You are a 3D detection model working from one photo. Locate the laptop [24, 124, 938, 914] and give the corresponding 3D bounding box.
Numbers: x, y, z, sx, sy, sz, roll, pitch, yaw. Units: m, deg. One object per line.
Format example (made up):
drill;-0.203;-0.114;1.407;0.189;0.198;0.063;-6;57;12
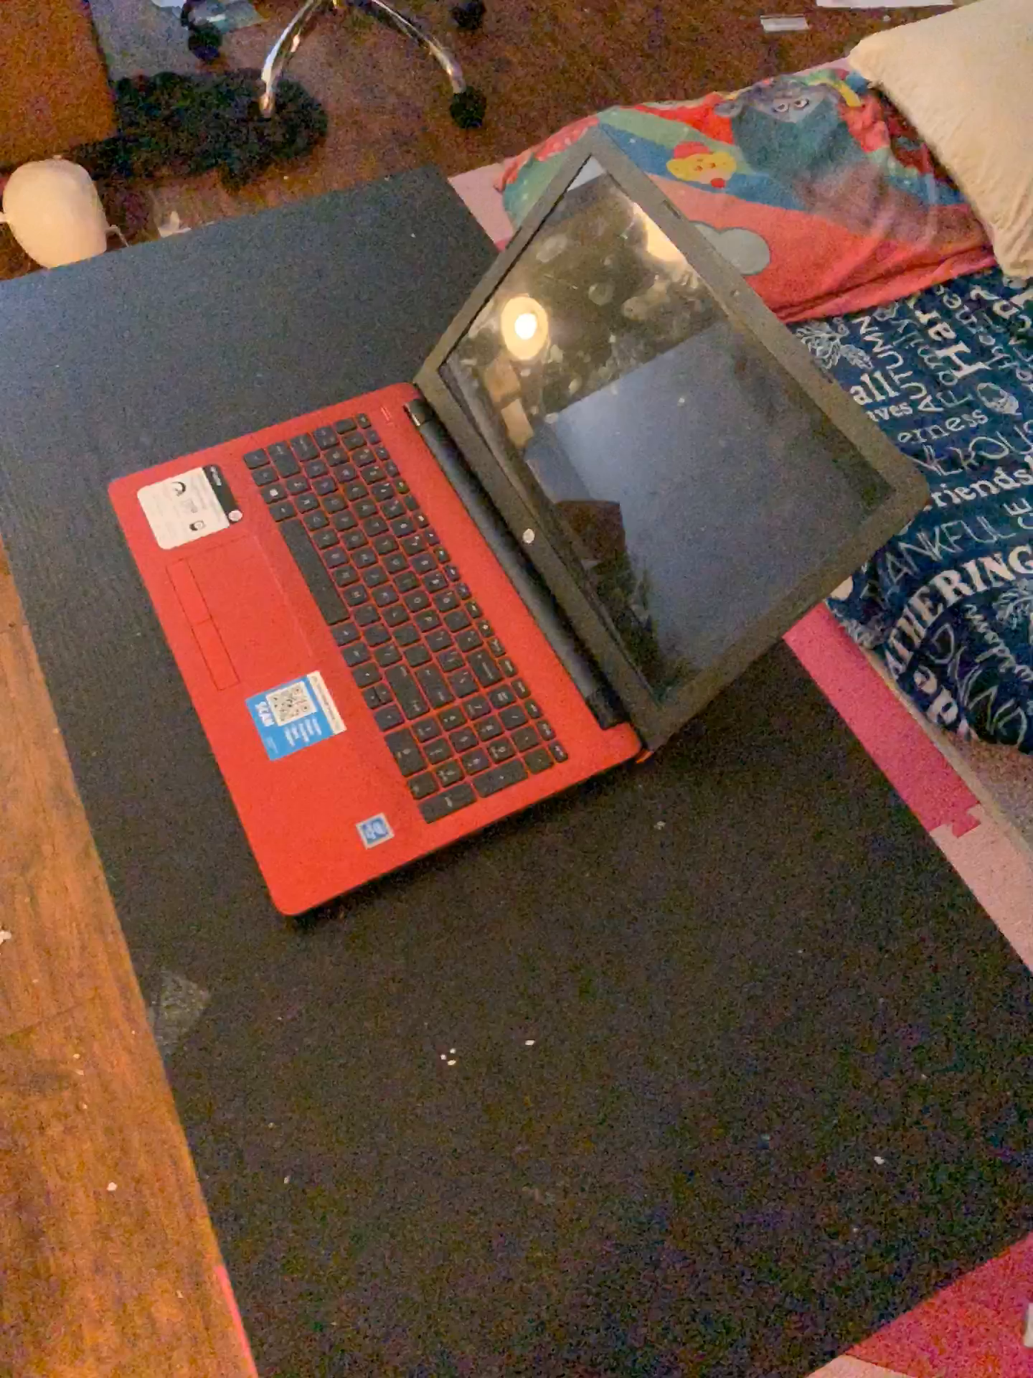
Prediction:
laptop;-0.038;-0.134;0.693;0.410;0.170;0.376;-24;63;-14
